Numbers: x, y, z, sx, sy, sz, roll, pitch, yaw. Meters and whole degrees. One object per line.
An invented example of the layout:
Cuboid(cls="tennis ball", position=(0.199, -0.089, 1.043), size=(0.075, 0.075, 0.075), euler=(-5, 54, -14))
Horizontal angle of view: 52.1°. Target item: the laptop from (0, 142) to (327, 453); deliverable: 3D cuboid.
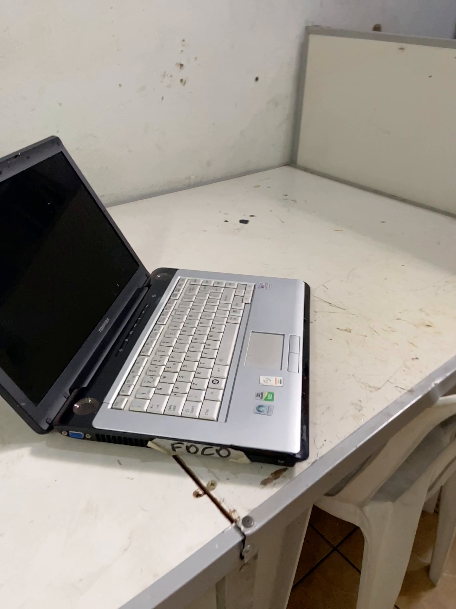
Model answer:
Cuboid(cls="laptop", position=(-0.094, -0.049, 0.581), size=(0.393, 0.200, 0.353), euler=(6, 32, 7))
